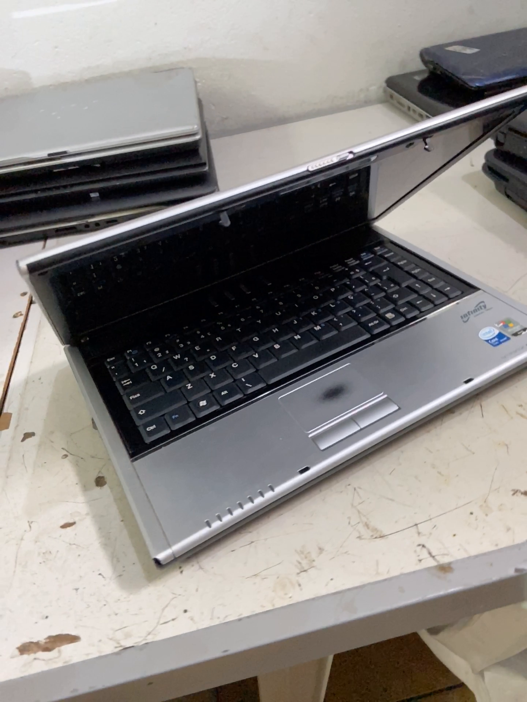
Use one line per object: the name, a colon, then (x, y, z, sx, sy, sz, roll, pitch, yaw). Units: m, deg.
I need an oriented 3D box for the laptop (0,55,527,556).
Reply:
laptop: (0.017, -0.070, 0.386, 0.331, 0.164, 0.228, -24, 41, -18)
